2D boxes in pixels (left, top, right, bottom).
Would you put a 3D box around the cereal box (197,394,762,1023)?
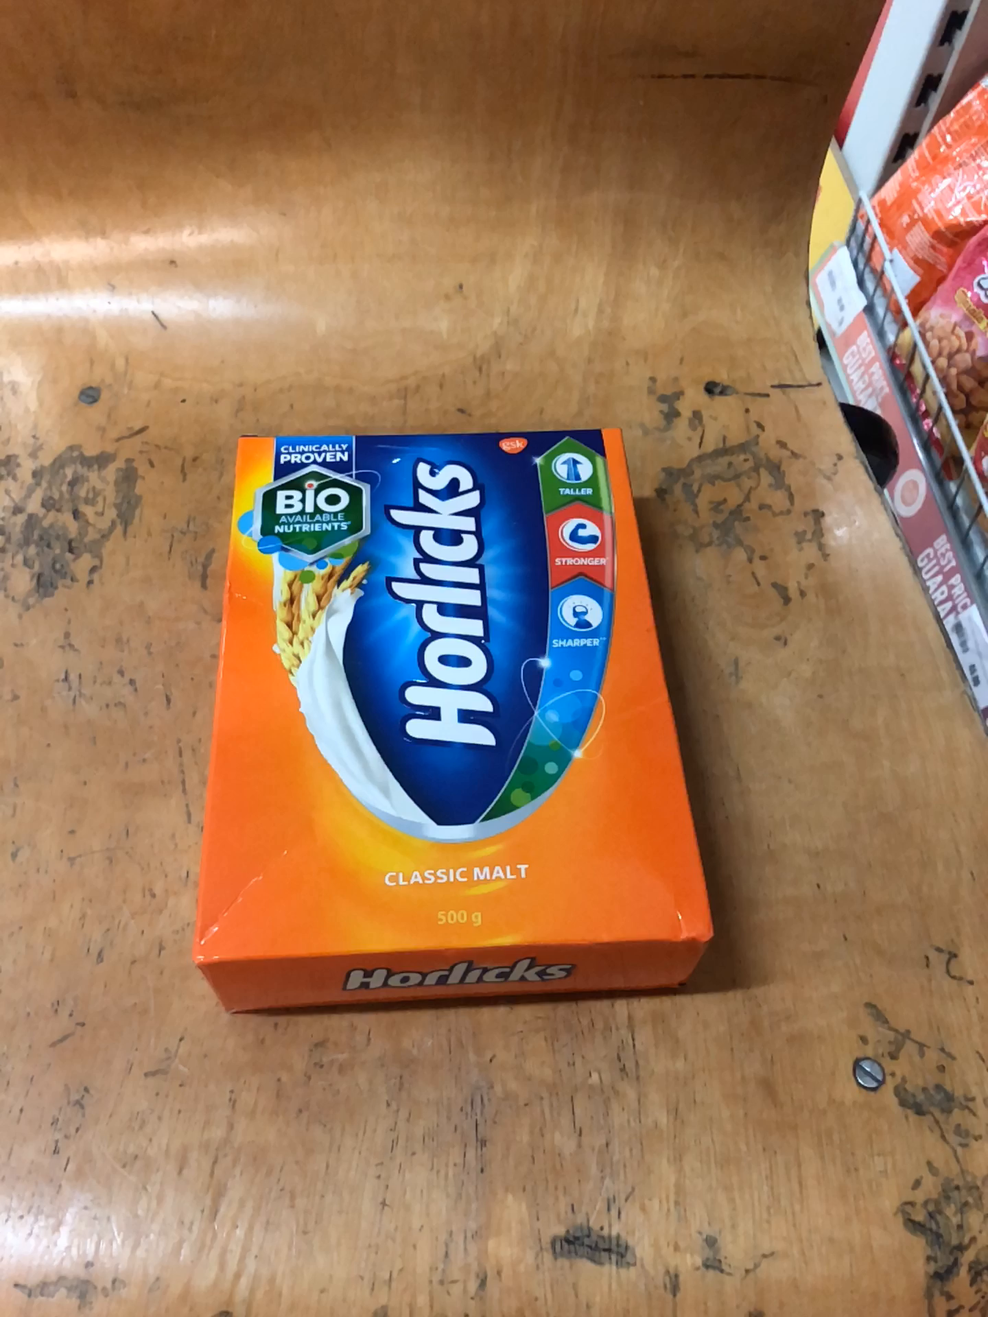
[{"bbox_3d":[-0.009,0.012,0.352,0.140,0.080,0.181,-2,59,-3],"label":"cereal box"}]
